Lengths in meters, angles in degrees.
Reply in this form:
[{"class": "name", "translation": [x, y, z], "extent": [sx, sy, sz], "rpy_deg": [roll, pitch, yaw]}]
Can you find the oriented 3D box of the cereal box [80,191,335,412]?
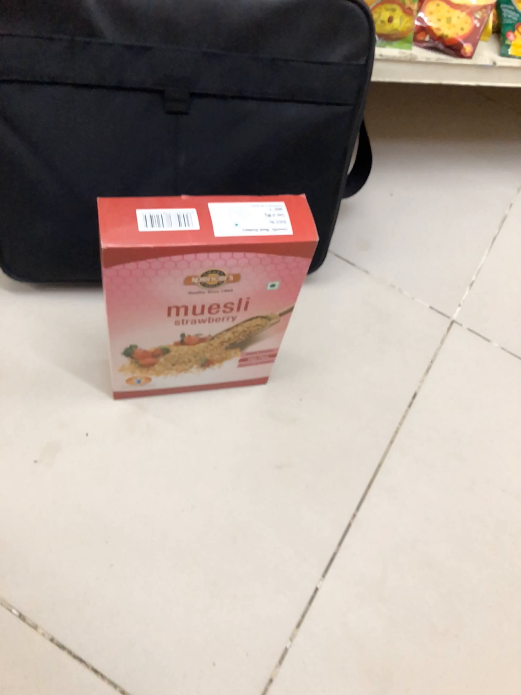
[{"class": "cereal box", "translation": [-0.063, -0.033, 0.575], "extent": [0.200, 0.259, 0.060], "rpy_deg": [-5, 57, -15]}]
